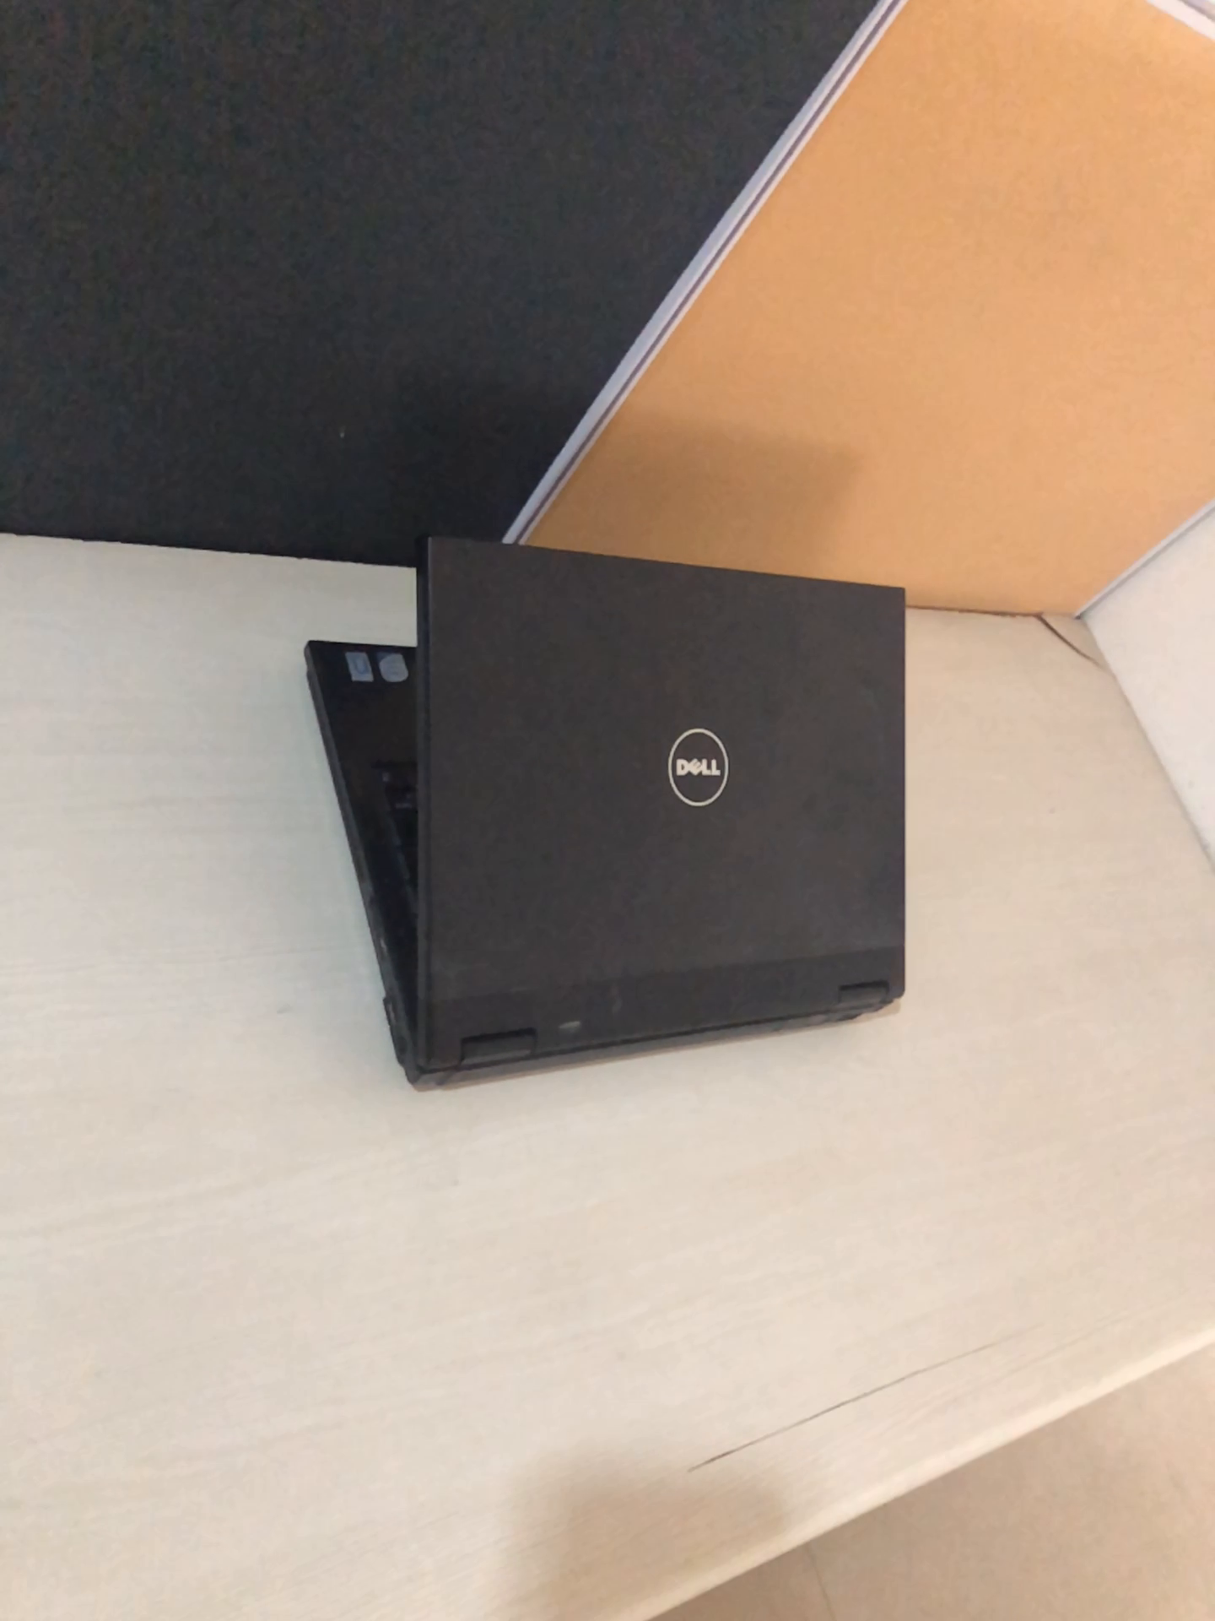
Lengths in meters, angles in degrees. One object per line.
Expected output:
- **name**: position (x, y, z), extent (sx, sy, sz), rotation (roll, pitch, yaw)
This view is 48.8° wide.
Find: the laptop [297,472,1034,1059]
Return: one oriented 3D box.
- **laptop**: position (0.030, -0.024, 0.684), extent (0.303, 0.126, 0.225), rotation (-1, 61, -36)
